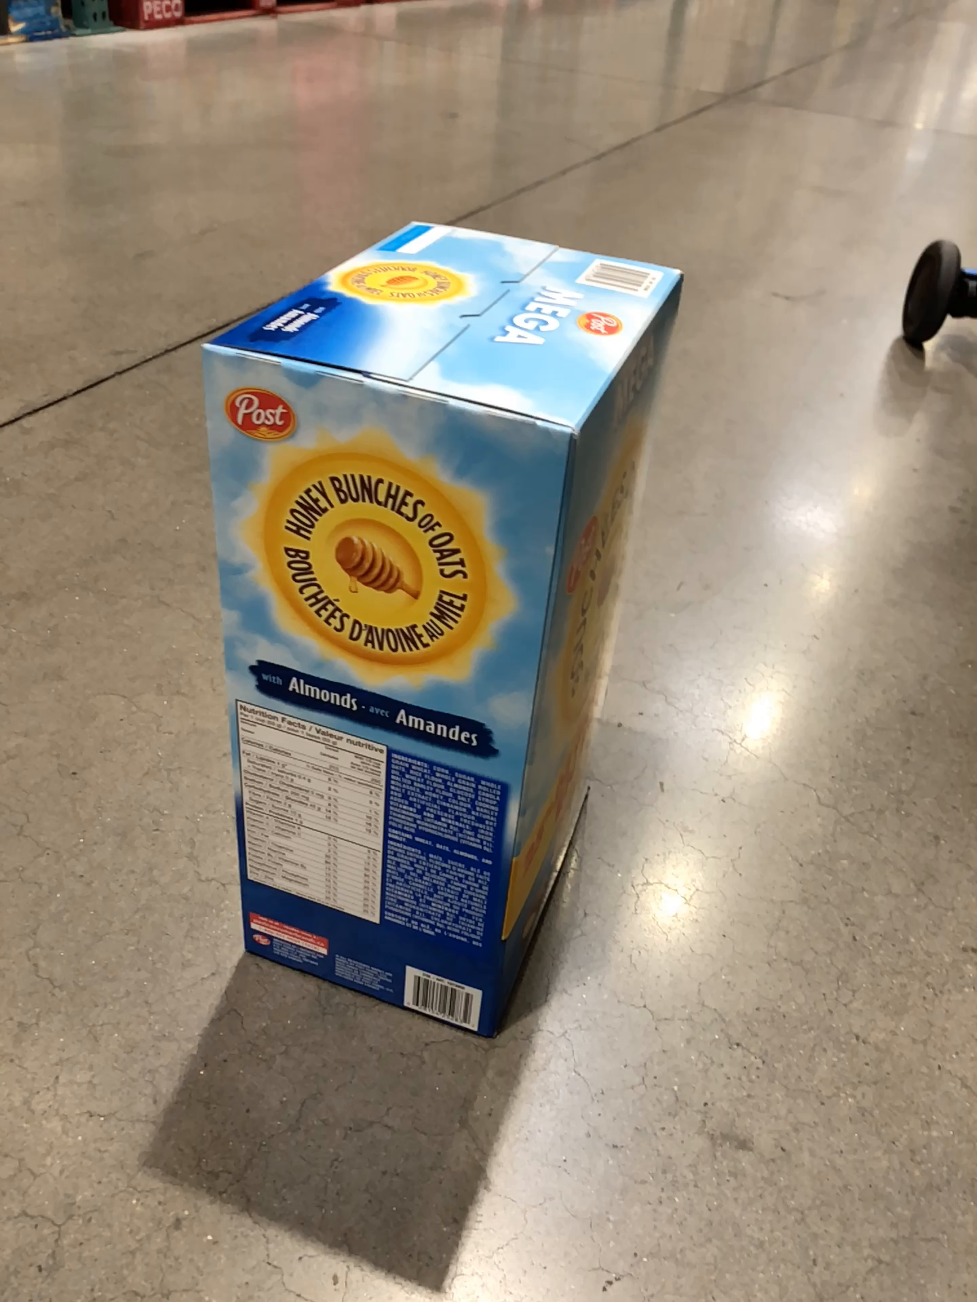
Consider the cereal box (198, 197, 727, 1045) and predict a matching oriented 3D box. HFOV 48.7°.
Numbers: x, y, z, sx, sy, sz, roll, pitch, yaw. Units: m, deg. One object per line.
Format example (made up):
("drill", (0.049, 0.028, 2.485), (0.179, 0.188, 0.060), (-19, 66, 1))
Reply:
("cereal box", (-0.008, -0.015, 0.530), (0.150, 0.329, 0.211), (15, 38, 12))
